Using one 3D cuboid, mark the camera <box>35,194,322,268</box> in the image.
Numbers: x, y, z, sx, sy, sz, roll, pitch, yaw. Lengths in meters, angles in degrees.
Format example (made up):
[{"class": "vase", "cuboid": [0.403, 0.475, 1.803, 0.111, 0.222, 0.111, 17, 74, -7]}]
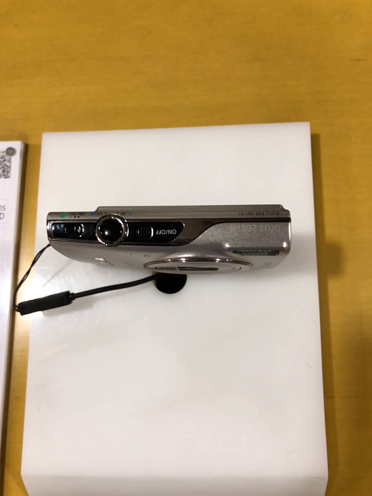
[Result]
[{"class": "camera", "cuboid": [-0.002, -0.005, 0.191, 0.110, 0.060, 0.020, -1, 80, 4]}]
